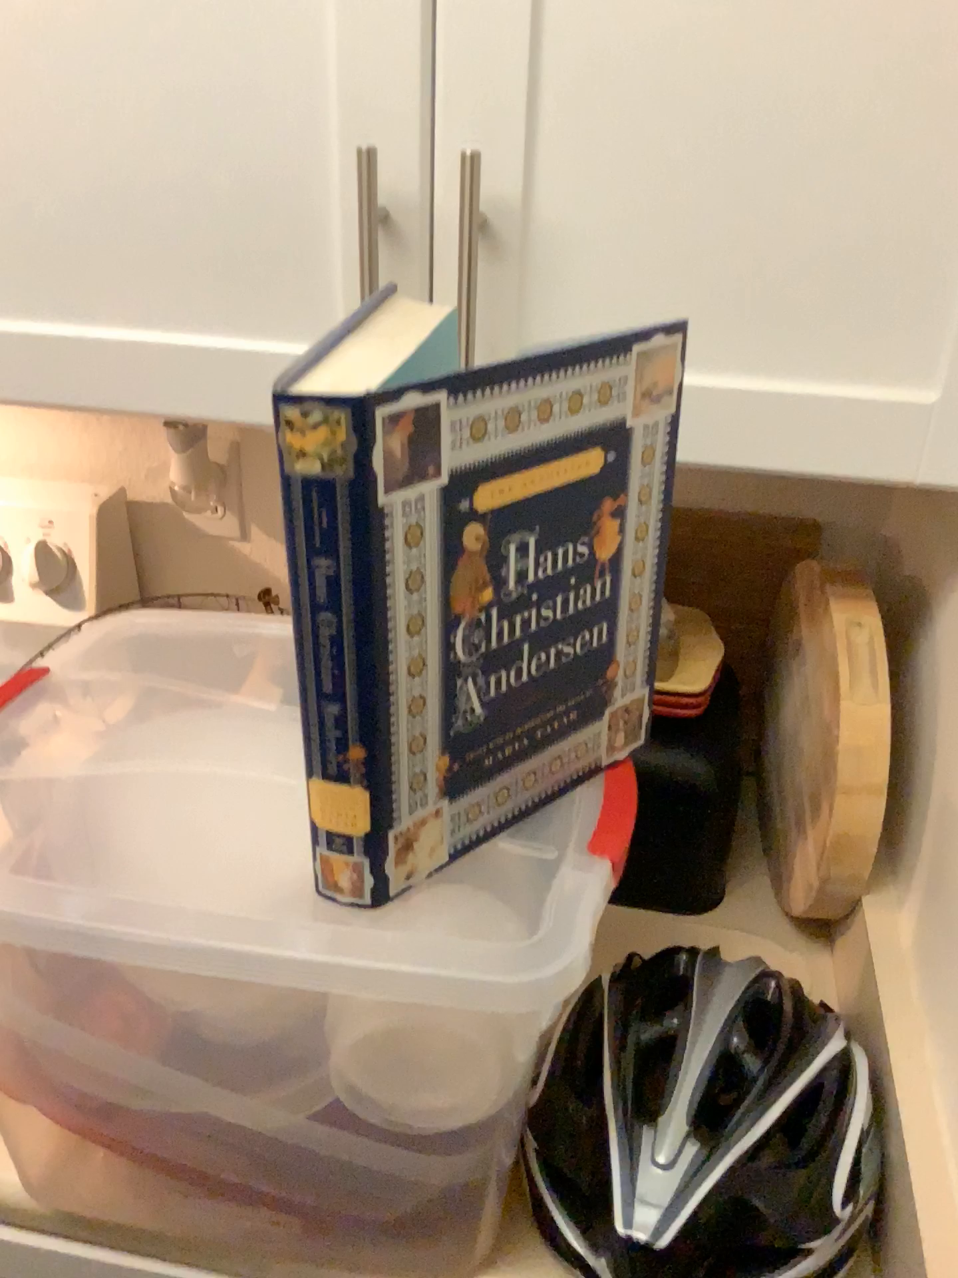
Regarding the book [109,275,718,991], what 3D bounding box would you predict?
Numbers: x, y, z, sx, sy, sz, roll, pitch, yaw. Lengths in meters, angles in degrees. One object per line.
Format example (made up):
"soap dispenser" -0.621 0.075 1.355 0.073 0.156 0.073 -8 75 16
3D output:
"book" -0.017 -0.027 0.562 0.200 0.260 0.250 14 30 17
